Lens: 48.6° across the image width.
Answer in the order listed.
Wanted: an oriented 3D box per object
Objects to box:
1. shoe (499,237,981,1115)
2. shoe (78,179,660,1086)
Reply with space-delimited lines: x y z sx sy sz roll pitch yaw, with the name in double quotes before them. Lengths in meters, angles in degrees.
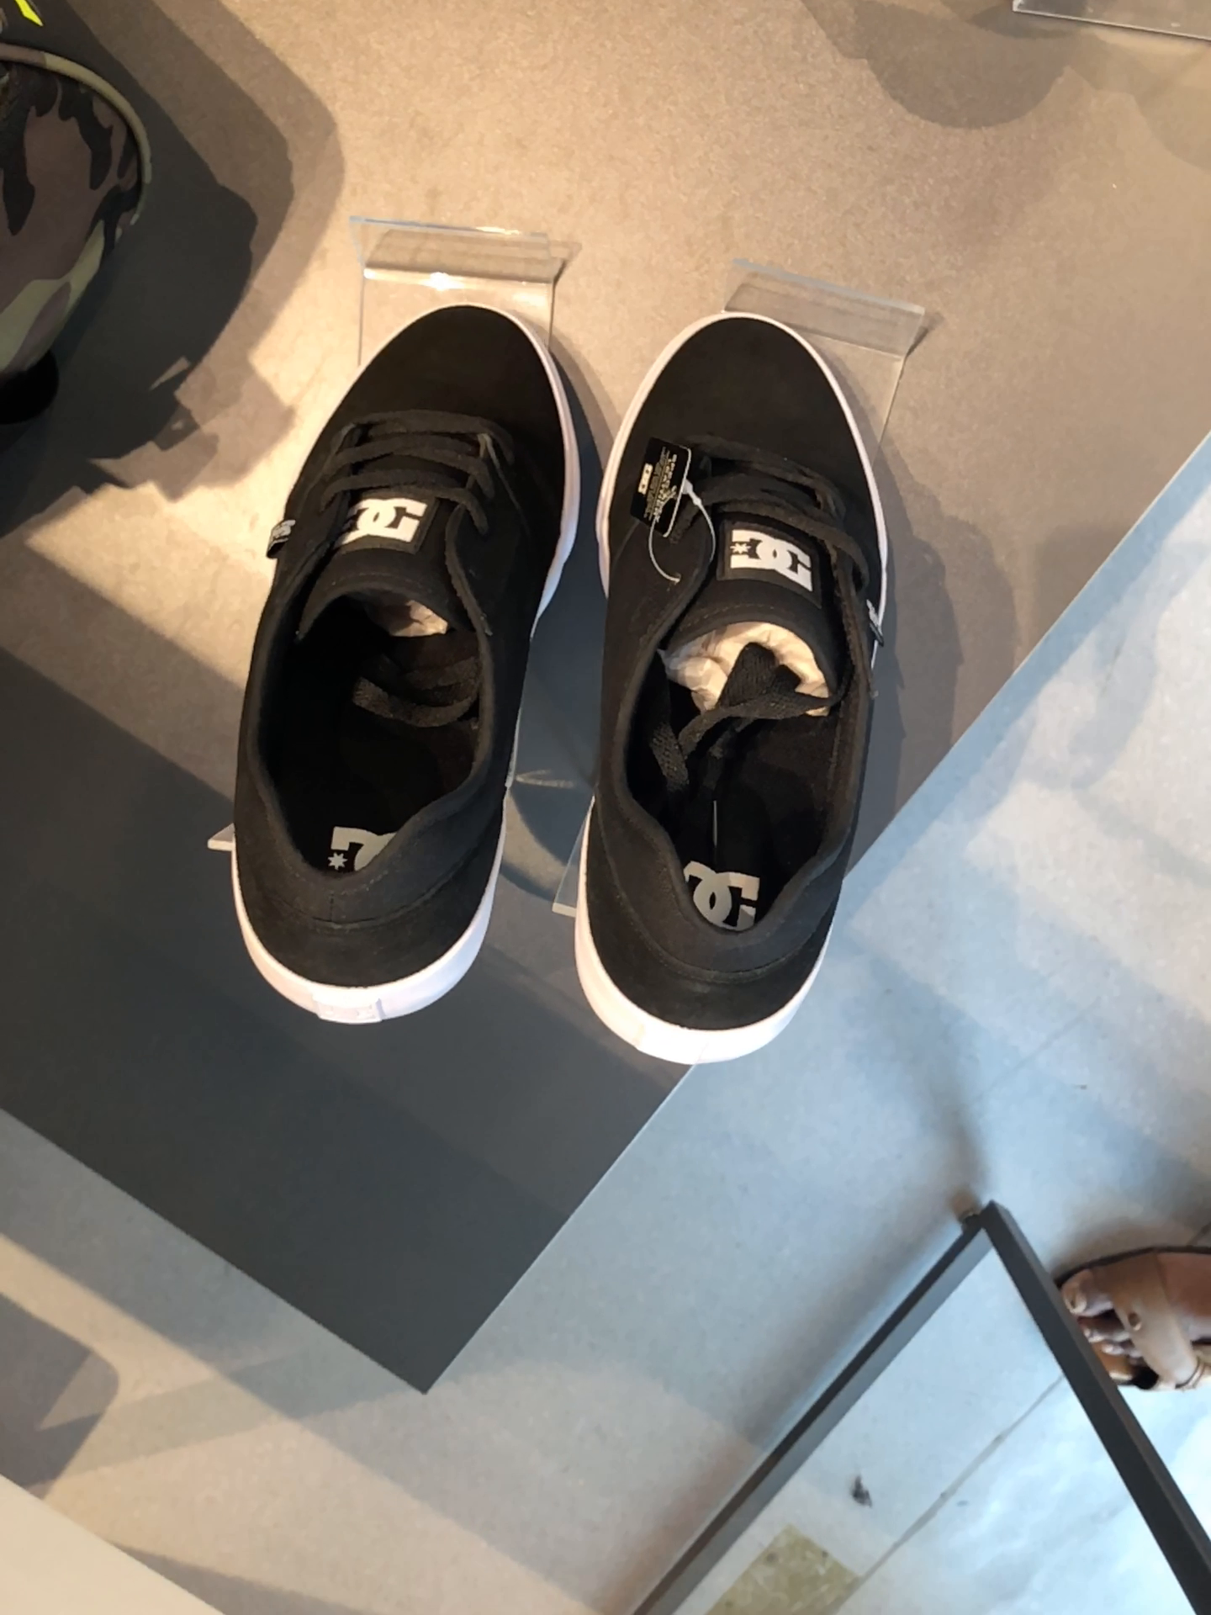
"shoe" 0.041 -0.038 0.410 0.106 0.107 0.229 10 66 -2
"shoe" -0.055 -0.050 0.394 0.106 0.107 0.229 8 66 -1
